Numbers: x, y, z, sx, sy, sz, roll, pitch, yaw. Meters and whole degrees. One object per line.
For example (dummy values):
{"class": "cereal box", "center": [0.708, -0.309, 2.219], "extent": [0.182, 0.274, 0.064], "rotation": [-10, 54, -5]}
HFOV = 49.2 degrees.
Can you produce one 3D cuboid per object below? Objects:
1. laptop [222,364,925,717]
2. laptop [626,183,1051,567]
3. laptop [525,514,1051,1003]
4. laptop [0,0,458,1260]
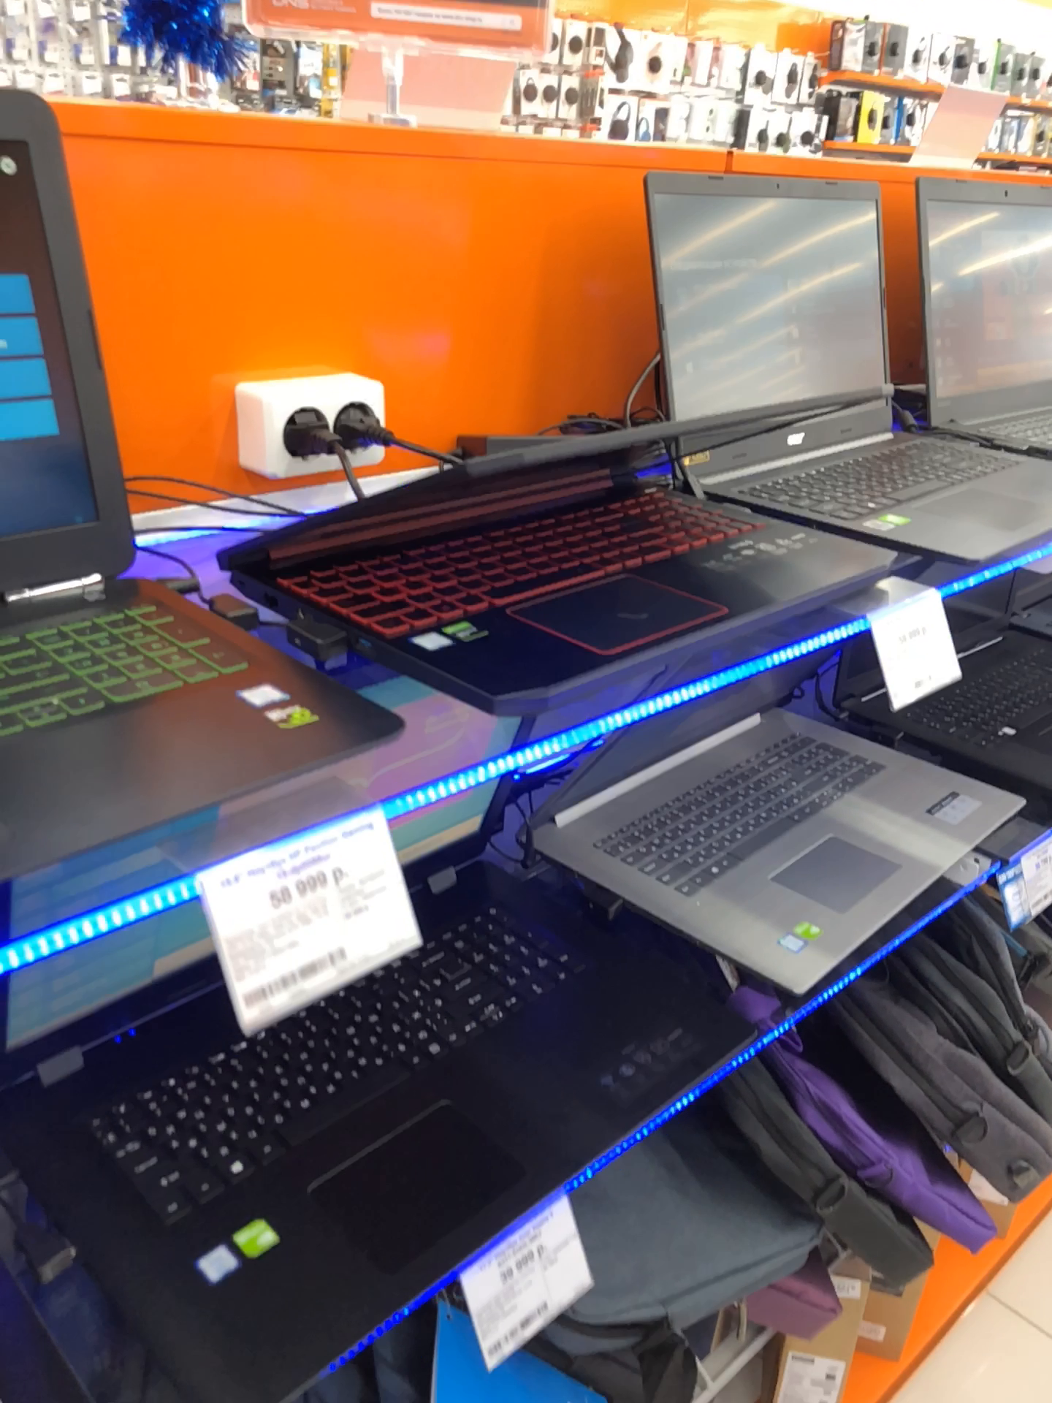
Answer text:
{"class": "laptop", "center": [0.038, -0.127, 0.711], "extent": [0.359, 0.103, 0.248], "rotation": [-20, 33, -41]}
{"class": "laptop", "center": [0.327, -0.293, 0.949], "extent": [0.313, 0.226, 0.343], "rotation": [24, 32, 39]}
{"class": "laptop", "center": [0.246, 0.010, 1.019], "extent": [0.297, 0.221, 0.405], "rotation": [24, 33, 39]}
{"class": "laptop", "center": [-0.301, -0.091, 0.423], "extent": [0.415, 0.250, 0.310], "rotation": [-20, 32, -40]}
